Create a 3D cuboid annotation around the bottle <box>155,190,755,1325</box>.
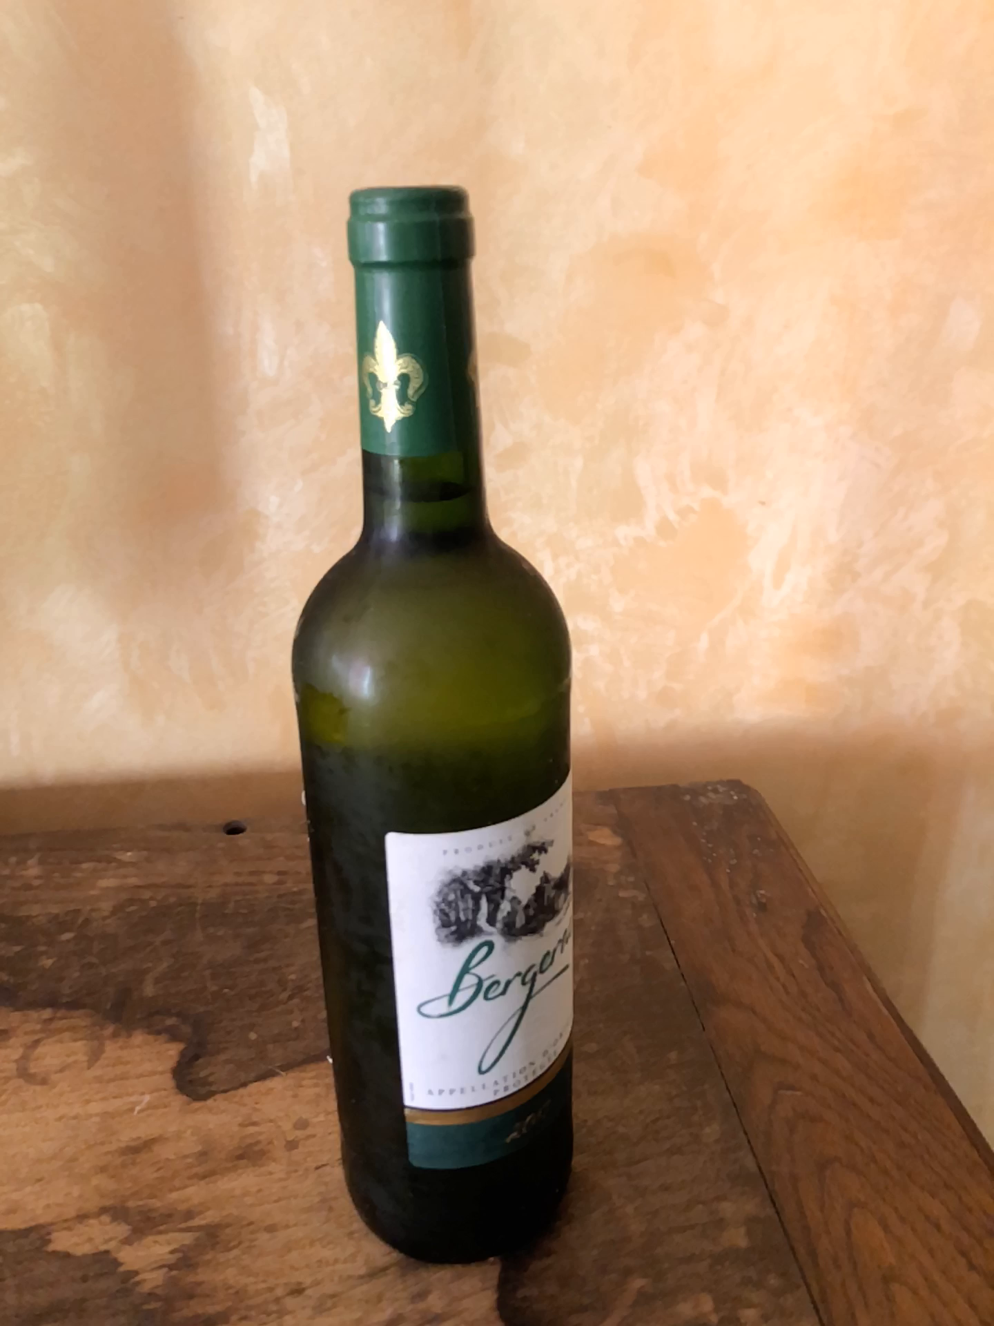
[{"bbox_3d":[-0.011,0.025,0.281,0.090,0.269,0.090,0,22,0],"label":"bottle"}]
